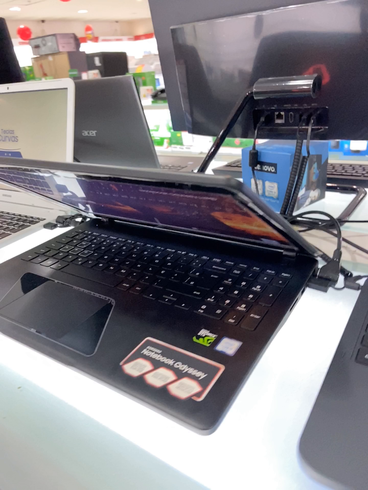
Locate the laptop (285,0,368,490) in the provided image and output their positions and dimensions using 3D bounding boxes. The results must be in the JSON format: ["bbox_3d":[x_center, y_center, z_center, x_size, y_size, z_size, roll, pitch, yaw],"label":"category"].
[{"bbox_3d":[0.308,-0.006,0.189,0.413,0.234,0.308,11,30,31],"label":"laptop"}]

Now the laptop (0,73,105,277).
[{"bbox_3d":[-0.444,-0.159,0.706,0.431,0.224,0.346,9,30,33],"label":"laptop"}]

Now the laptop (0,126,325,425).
[{"bbox_3d":[-0.074,-0.029,0.414,0.368,0.152,0.259,11,29,33],"label":"laptop"}]
